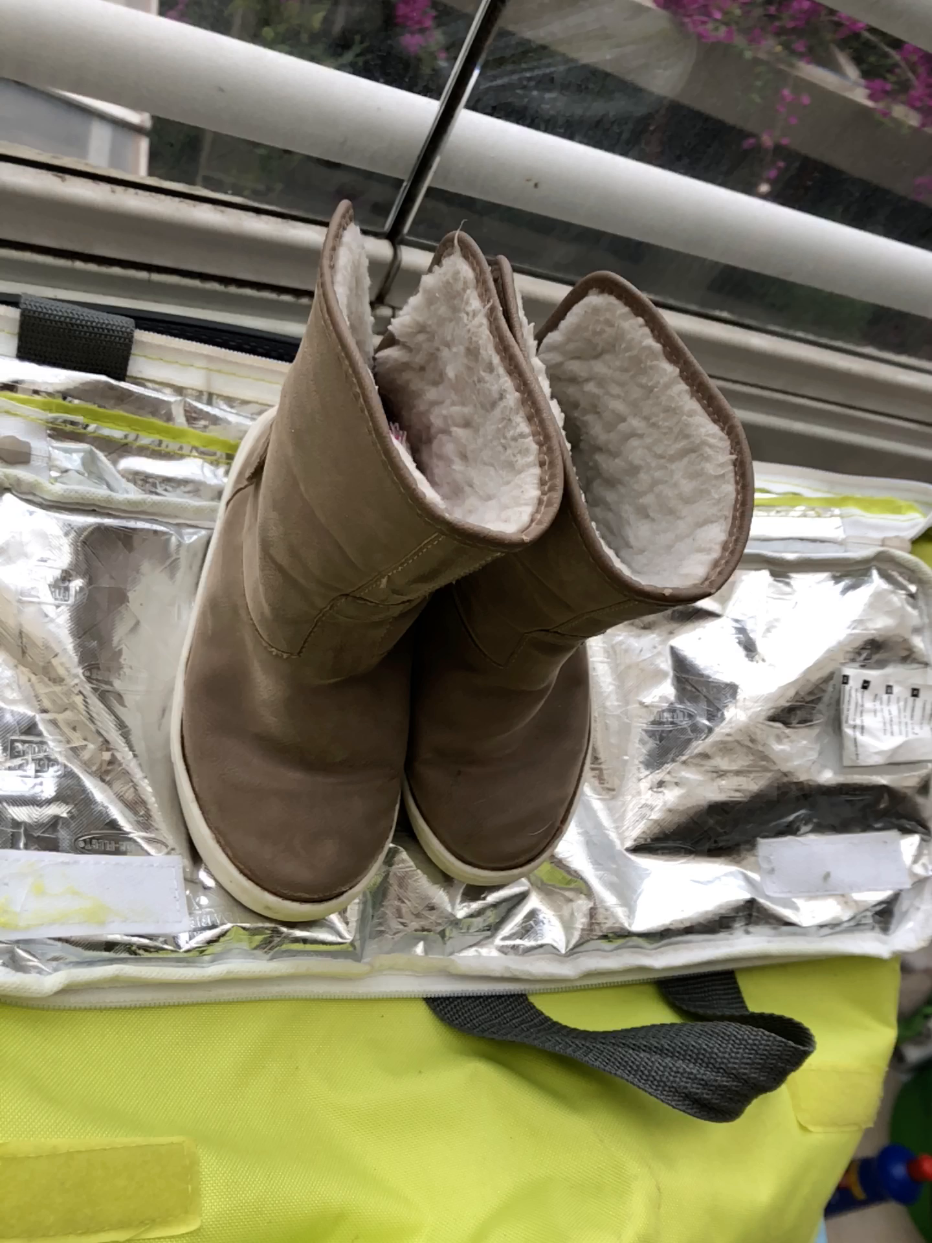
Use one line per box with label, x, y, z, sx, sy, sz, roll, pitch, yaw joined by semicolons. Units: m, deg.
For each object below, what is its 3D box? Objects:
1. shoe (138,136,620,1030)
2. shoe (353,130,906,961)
shoe;-0.040;0.000;0.310;0.090;0.169;0.190;3;80;-23
shoe;0.034;-0.011;0.338;0.090;0.169;0.200;1;81;-24
